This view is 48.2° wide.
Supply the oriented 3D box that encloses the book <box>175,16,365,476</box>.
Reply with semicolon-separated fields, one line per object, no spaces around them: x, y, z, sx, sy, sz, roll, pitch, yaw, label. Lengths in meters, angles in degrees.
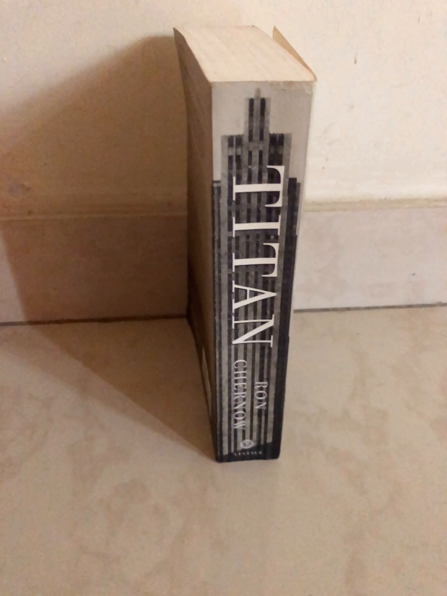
0.009;-0.043;0.329;0.060;0.229;0.201;-4;35;-6;book
